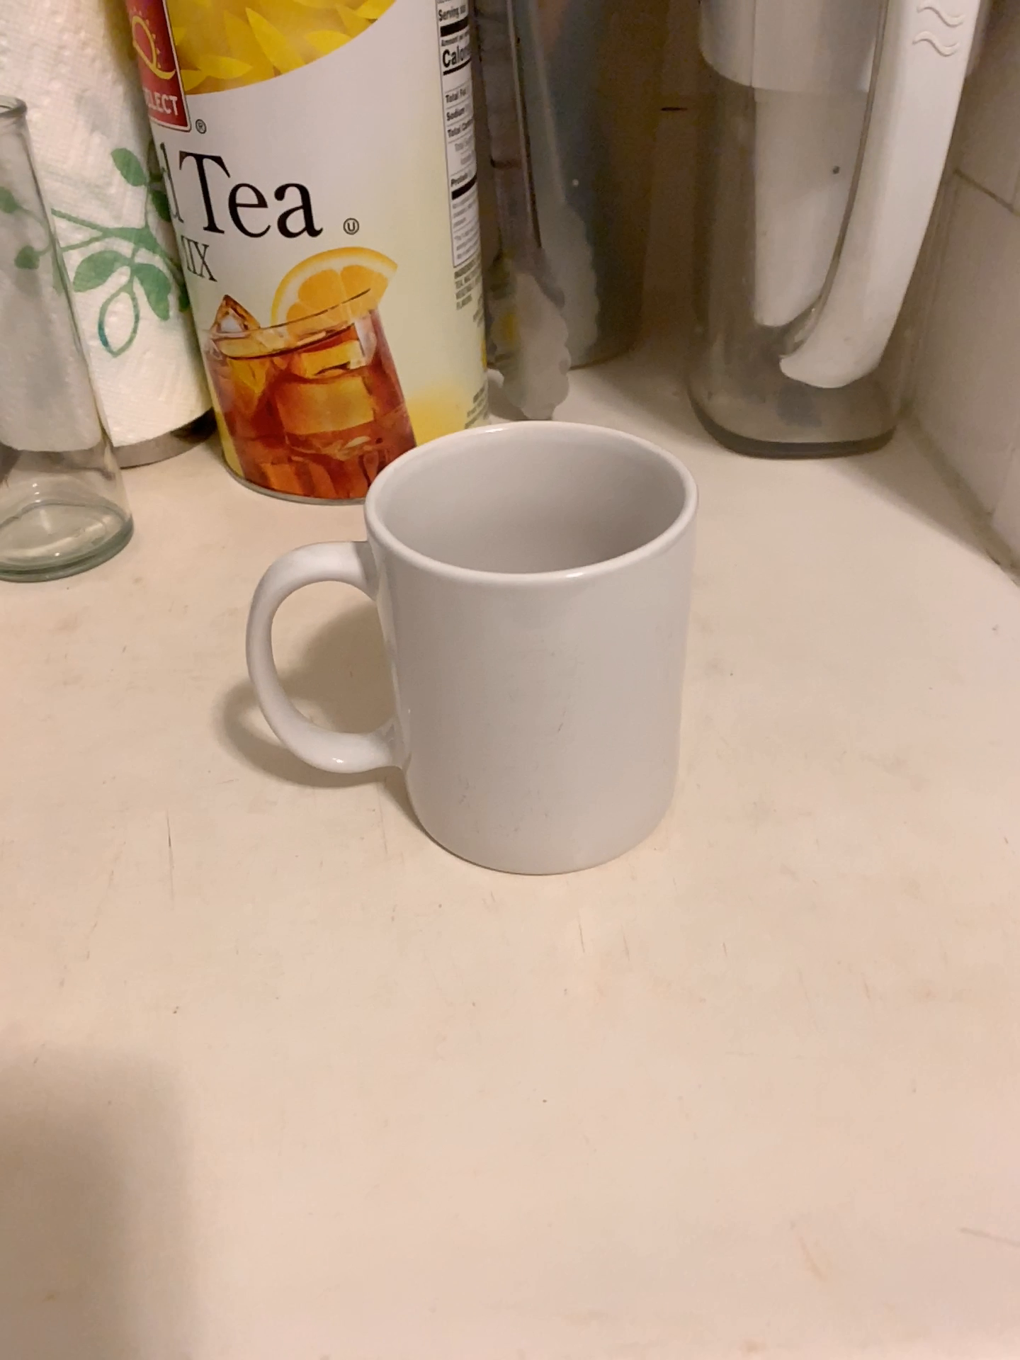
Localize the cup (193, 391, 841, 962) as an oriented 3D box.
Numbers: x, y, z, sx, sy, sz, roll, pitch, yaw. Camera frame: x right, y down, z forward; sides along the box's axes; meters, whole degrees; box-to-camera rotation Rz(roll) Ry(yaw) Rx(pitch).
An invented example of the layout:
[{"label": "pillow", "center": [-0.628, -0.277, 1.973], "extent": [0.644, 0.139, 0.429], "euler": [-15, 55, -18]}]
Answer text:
[{"label": "cup", "center": [-0.003, -0.004, 0.293], "extent": [0.140, 0.109, 0.091], "euler": [-7, 38, -7]}]
